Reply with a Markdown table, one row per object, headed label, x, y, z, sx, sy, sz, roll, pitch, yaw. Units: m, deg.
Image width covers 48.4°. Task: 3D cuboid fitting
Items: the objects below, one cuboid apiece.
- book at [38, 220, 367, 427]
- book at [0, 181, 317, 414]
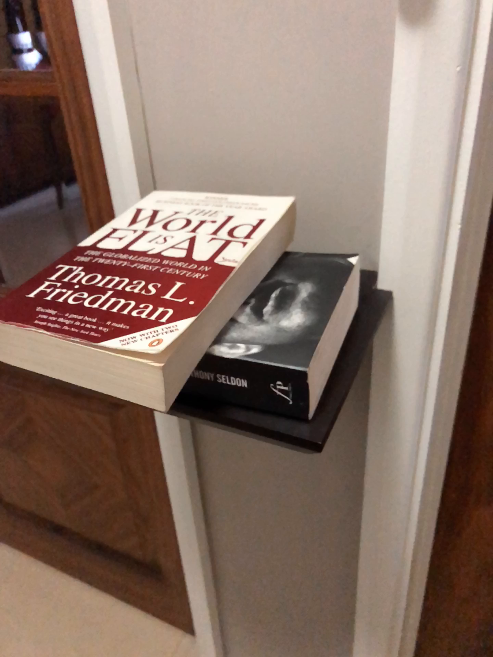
| label | x | y | z | sx | sy | sz | roll | pitch | yaw |
| --- | --- | --- | --- | --- | --- | --- | --- | --- | --- |
| book | -0.024 | -0.017 | 0.415 | 0.200 | 0.040 | 0.151 | 9 | 43 | 18 |
| book | -0.056 | -0.041 | 0.372 | 0.140 | 0.040 | 0.211 | 10 | 37 | 25 |
